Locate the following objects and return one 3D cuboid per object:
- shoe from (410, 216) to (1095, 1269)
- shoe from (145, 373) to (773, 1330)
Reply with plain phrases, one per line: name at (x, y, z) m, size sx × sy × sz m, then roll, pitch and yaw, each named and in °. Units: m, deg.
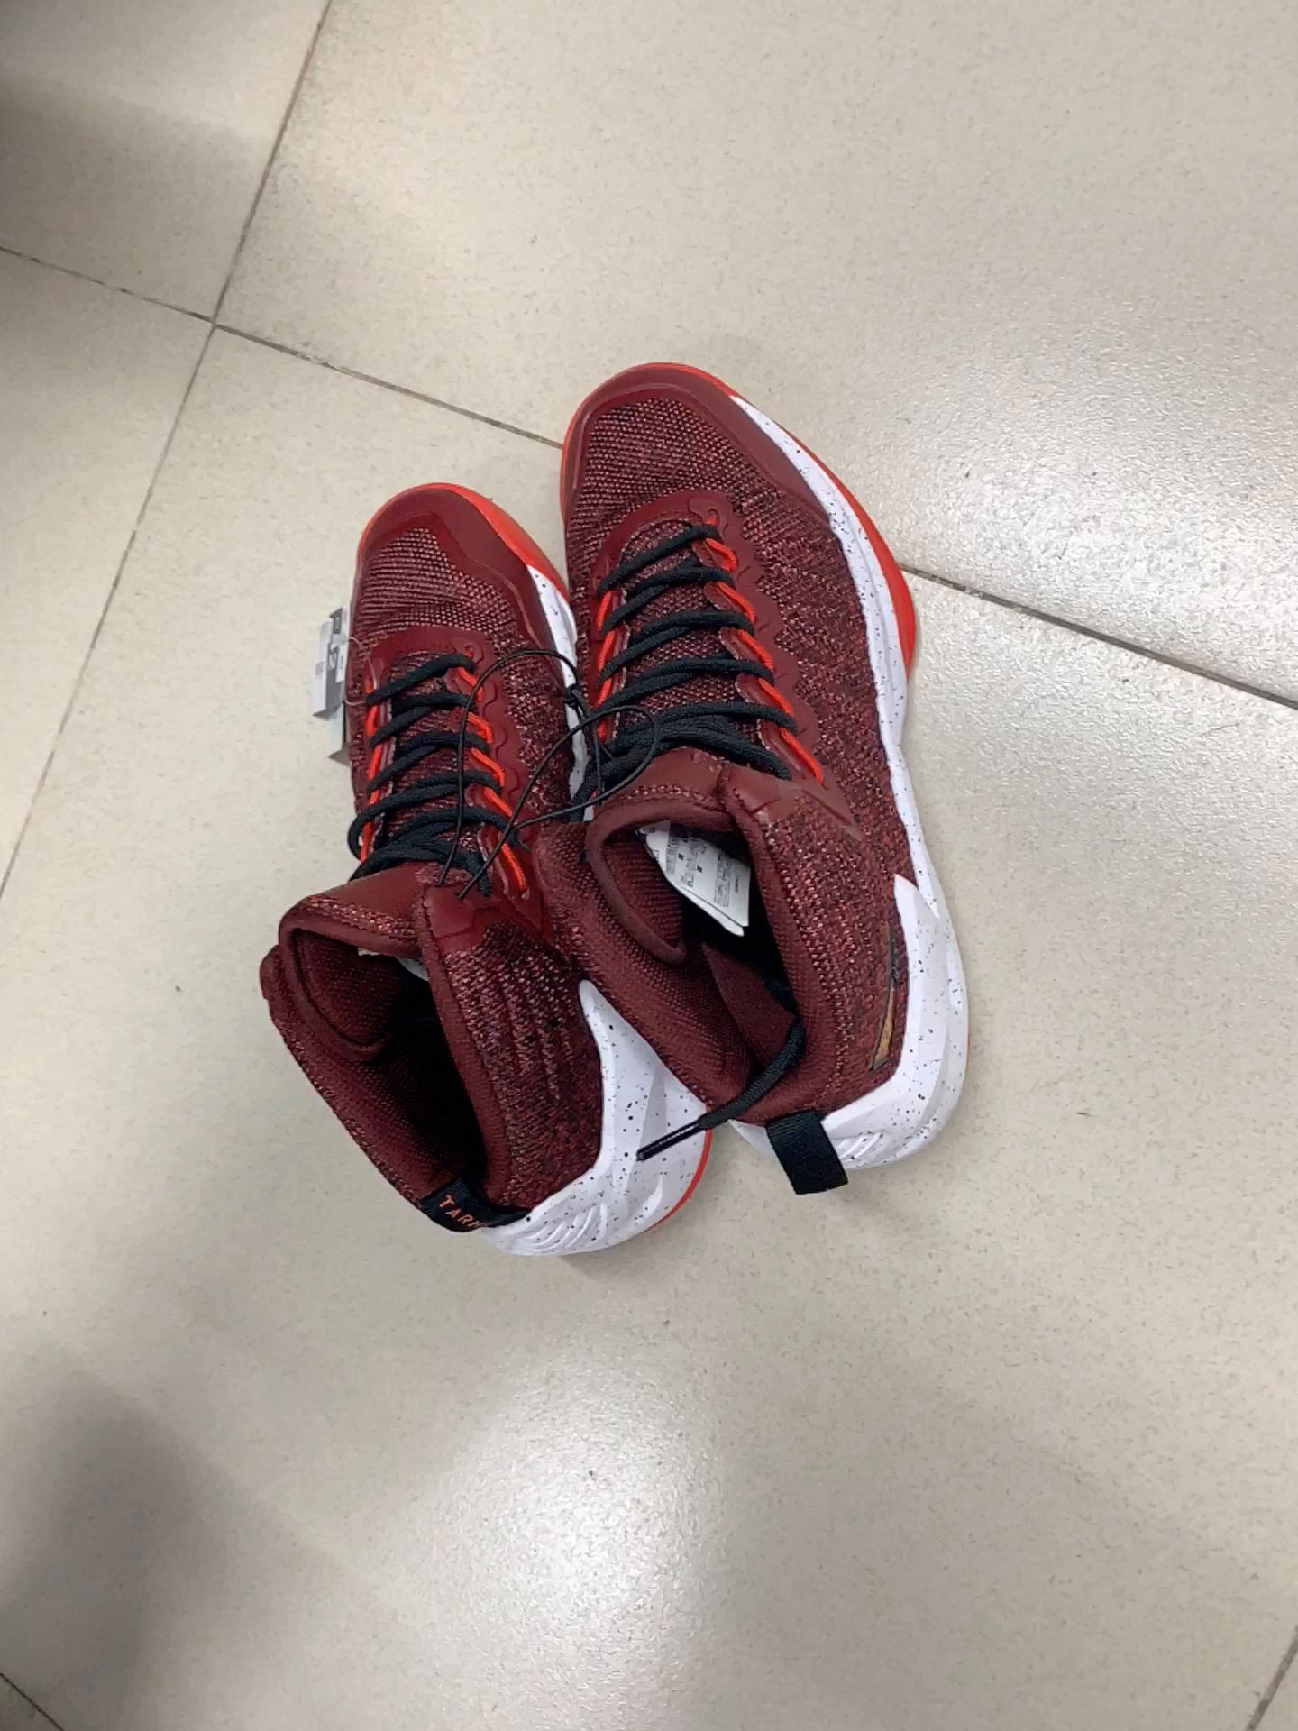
shoe at (0.035, -0.031, 0.421) m, size 0.120 × 0.110 × 0.270 m, roll -18°, pitch 81°, yaw 21°
shoe at (-0.066, -0.002, 0.472) m, size 0.120 × 0.110 × 0.280 m, roll -18°, pitch 81°, yaw 21°
